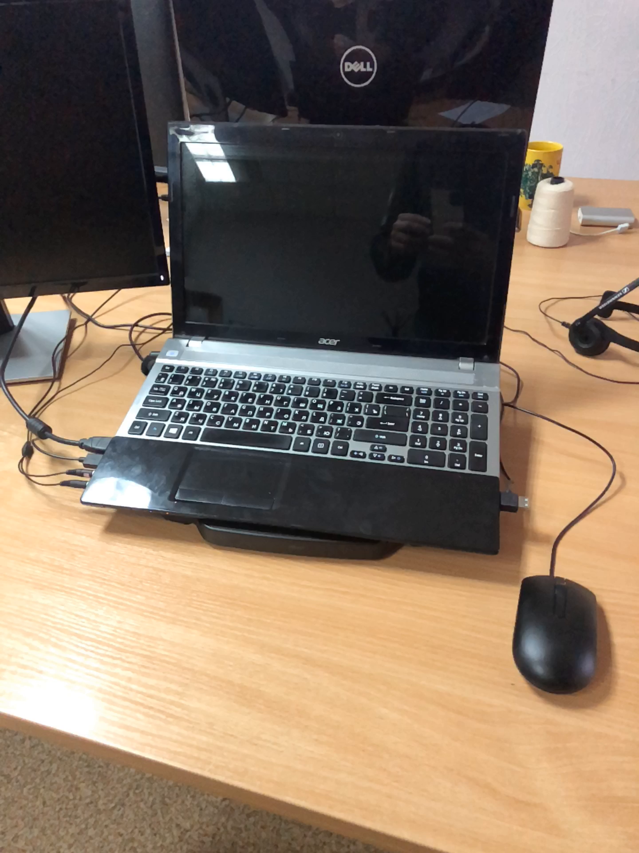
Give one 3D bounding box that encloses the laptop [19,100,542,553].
[{"bbox_3d":[-0.003,-0.125,0.666,0.370,0.215,0.354,5,42,10],"label":"laptop"}]
